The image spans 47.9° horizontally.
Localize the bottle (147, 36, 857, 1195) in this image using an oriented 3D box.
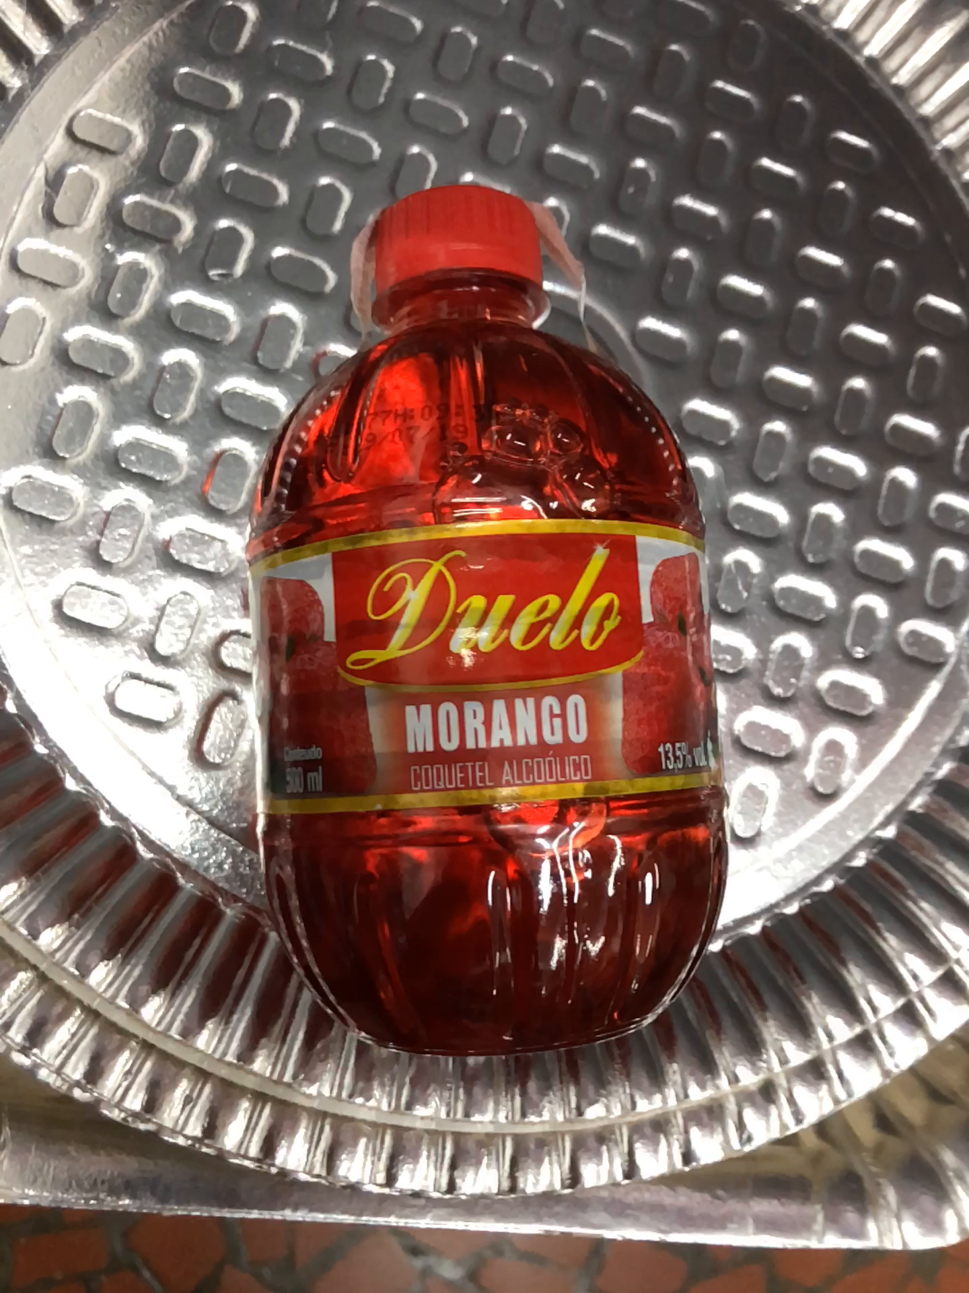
[{"bbox_3d":[-0.003,-0.006,0.183,0.090,0.070,0.150,-3,86,-11],"label":"bottle"}]
